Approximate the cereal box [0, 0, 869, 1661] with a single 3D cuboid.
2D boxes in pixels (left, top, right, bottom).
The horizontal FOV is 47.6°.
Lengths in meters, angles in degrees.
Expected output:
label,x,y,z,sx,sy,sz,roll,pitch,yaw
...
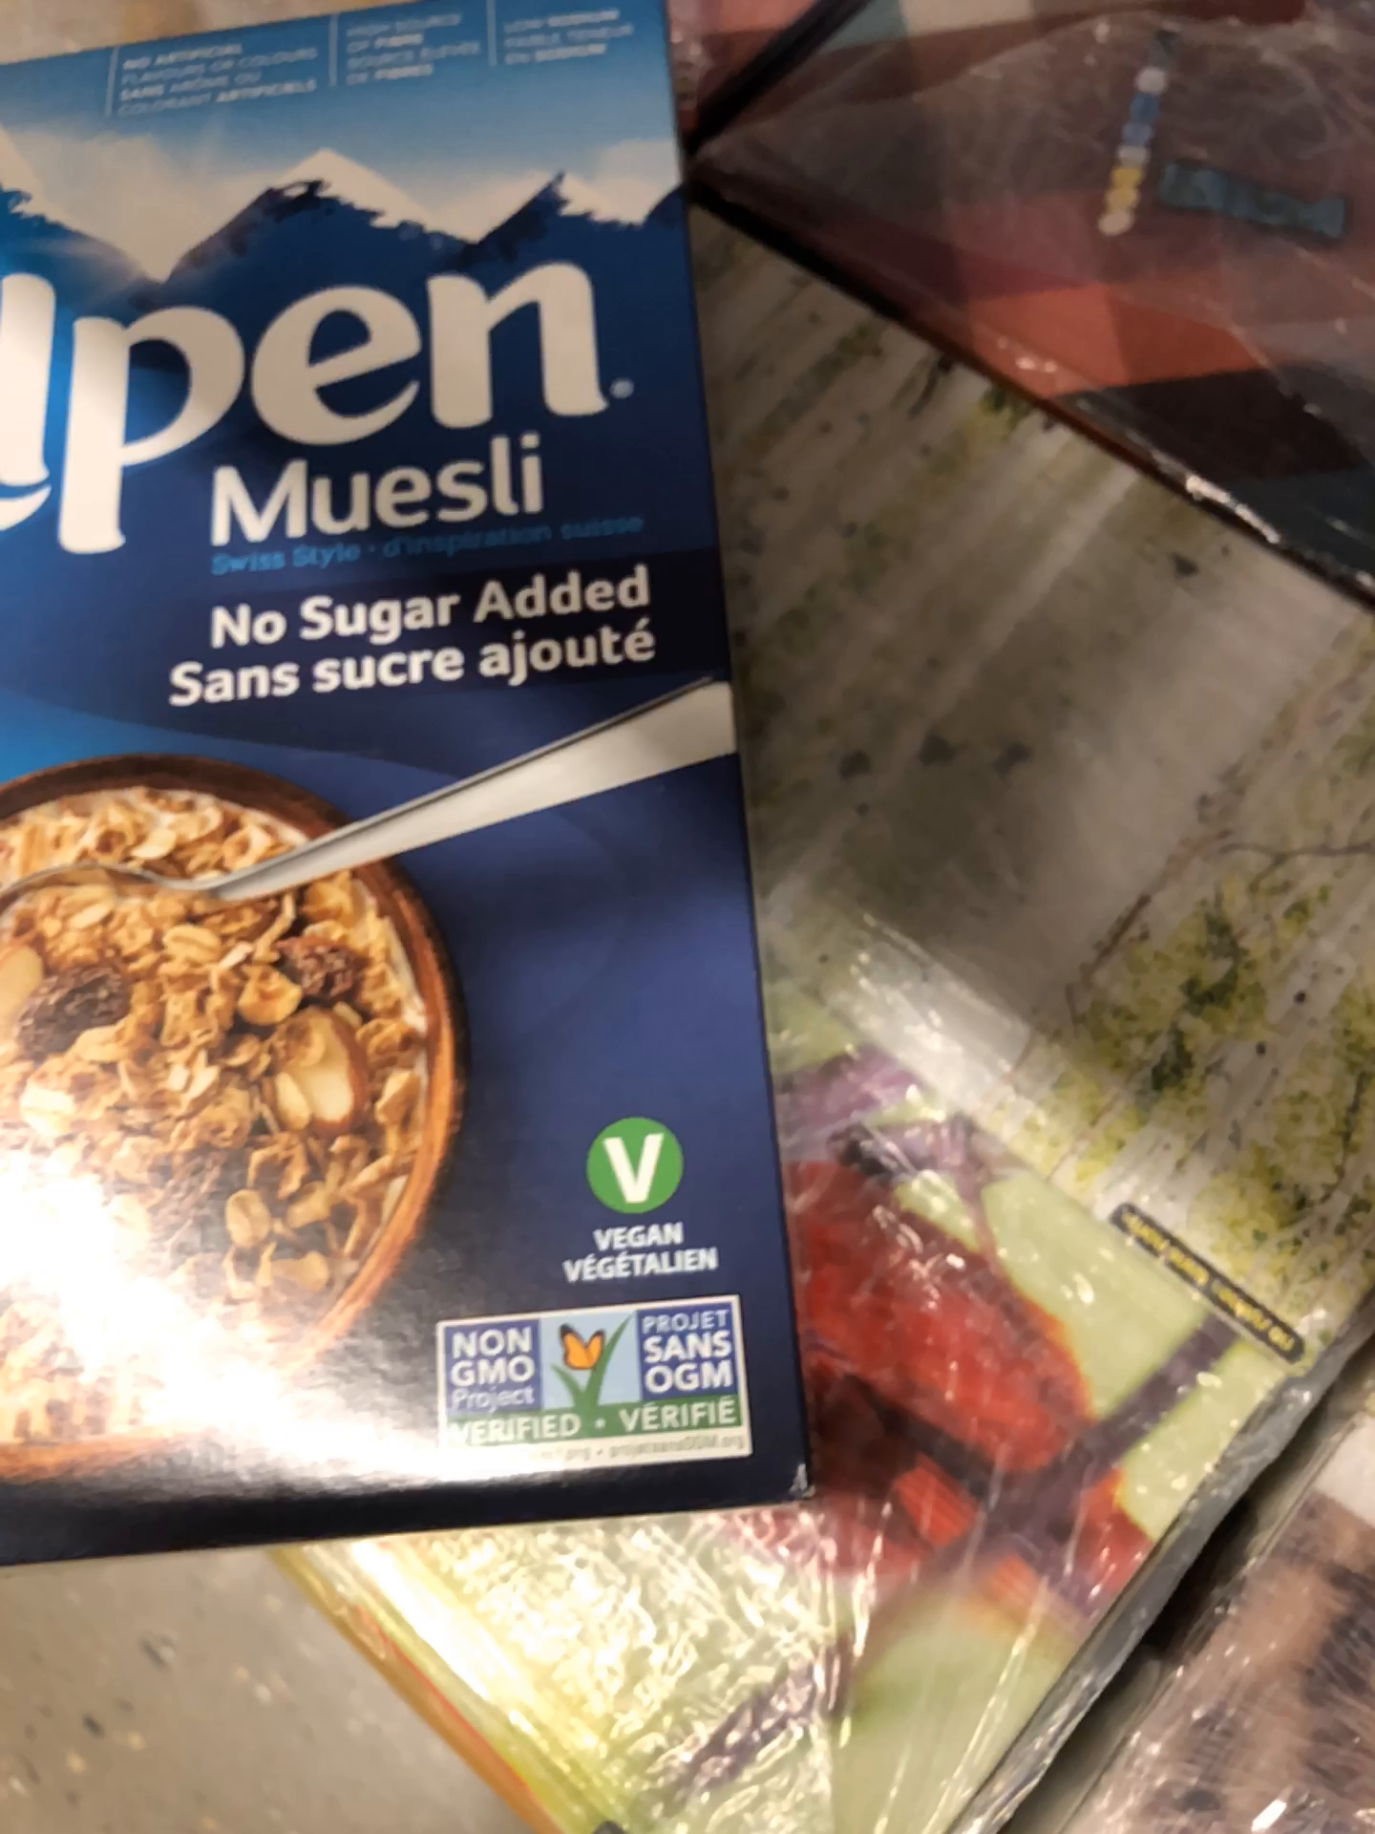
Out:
label,x,y,z,sx,sy,sz,roll,pitch,yaw
cereal box,-0.083,-0.042,0.245,0.190,0.050,0.270,-6,70,3
